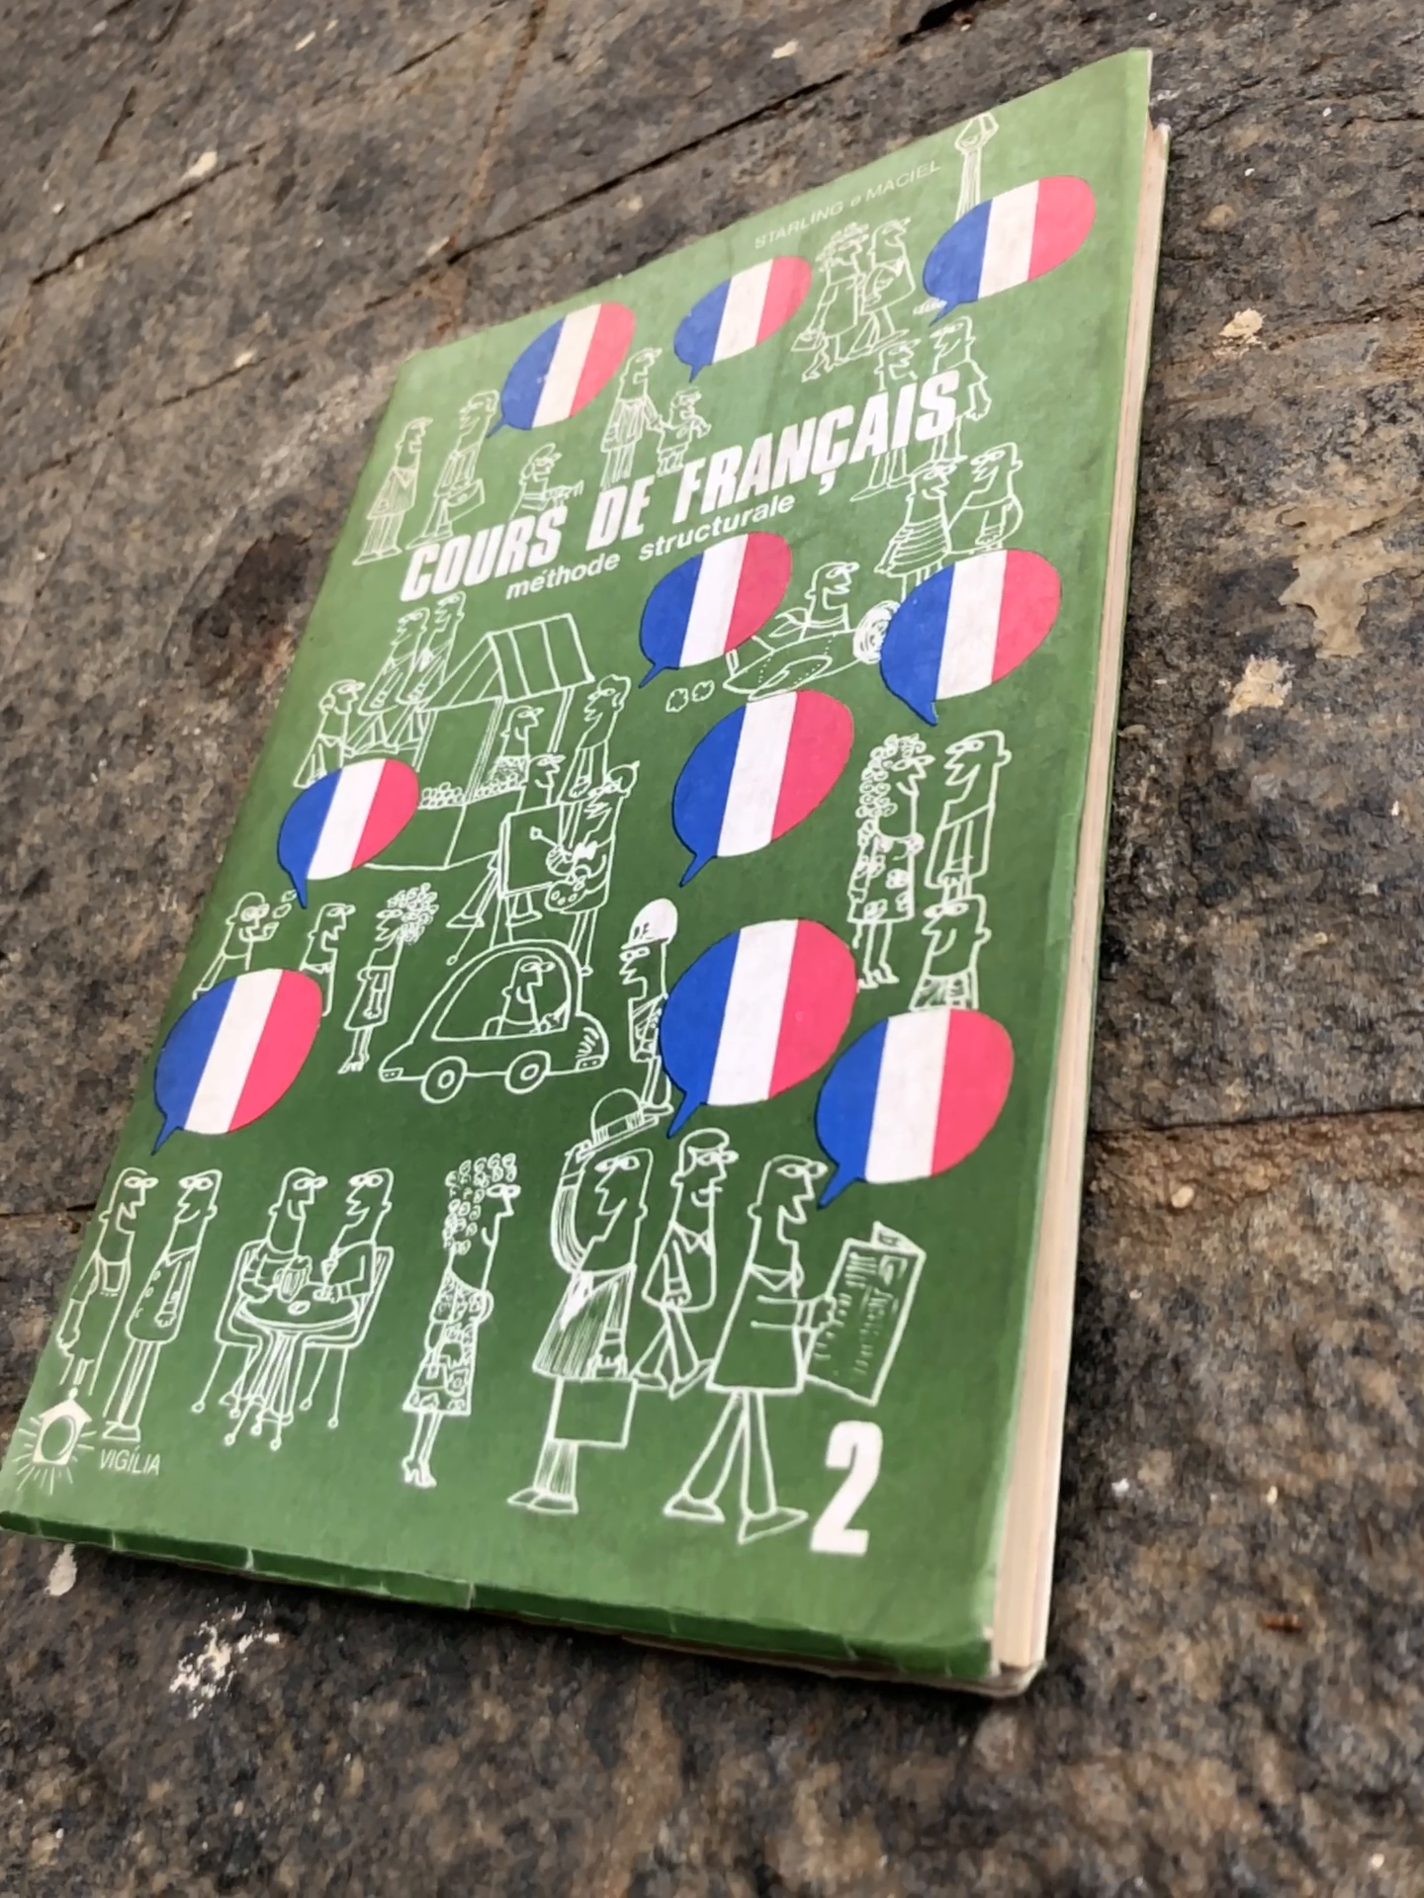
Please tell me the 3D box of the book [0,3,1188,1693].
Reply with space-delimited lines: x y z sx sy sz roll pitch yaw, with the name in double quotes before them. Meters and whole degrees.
"book" -0.023 -0.024 0.222 0.167 0.013 0.211 -8 58 34
